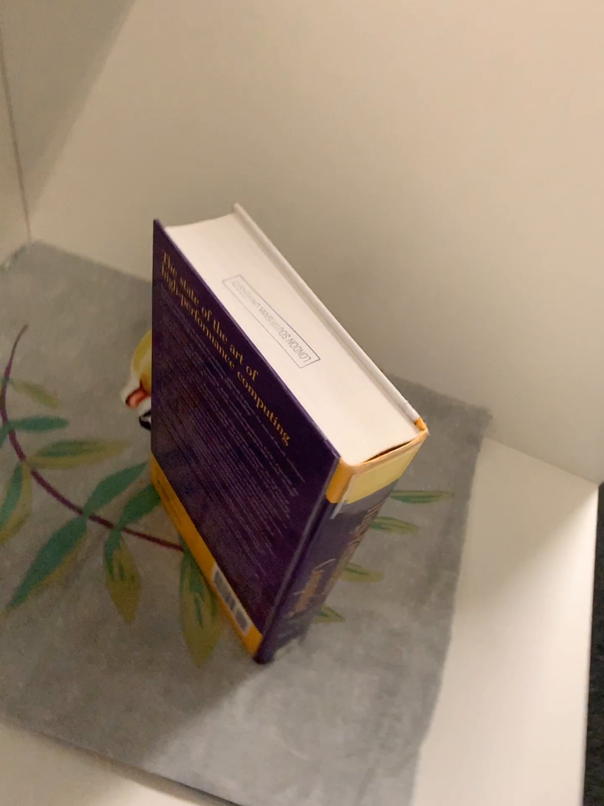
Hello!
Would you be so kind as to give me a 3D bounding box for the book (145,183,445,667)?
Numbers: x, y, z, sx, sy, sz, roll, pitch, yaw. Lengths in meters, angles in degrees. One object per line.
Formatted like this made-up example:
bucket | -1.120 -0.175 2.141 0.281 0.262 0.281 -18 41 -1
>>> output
book | -0.031 0.030 0.366 0.049 0.243 0.168 -22 60 -27
